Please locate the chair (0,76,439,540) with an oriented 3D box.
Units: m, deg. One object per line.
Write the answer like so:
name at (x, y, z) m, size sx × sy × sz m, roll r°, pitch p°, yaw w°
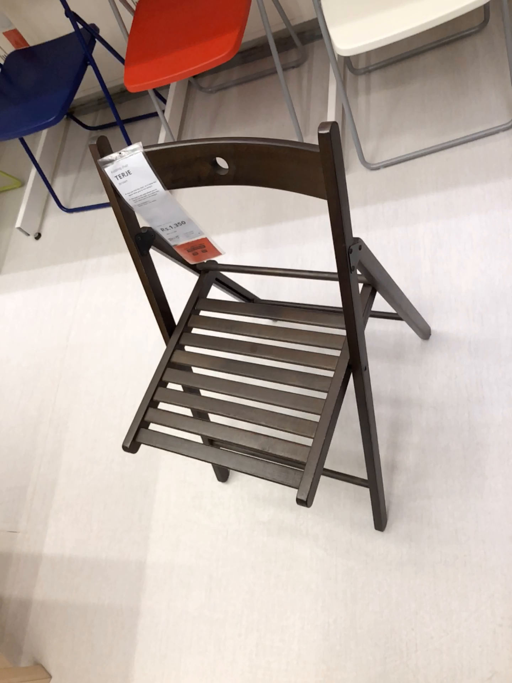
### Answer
chair at (0.009, 0.015, 1.069) m, size 0.461 × 0.776 × 0.501 m, roll 9°, pitch 71°, yaw 29°
